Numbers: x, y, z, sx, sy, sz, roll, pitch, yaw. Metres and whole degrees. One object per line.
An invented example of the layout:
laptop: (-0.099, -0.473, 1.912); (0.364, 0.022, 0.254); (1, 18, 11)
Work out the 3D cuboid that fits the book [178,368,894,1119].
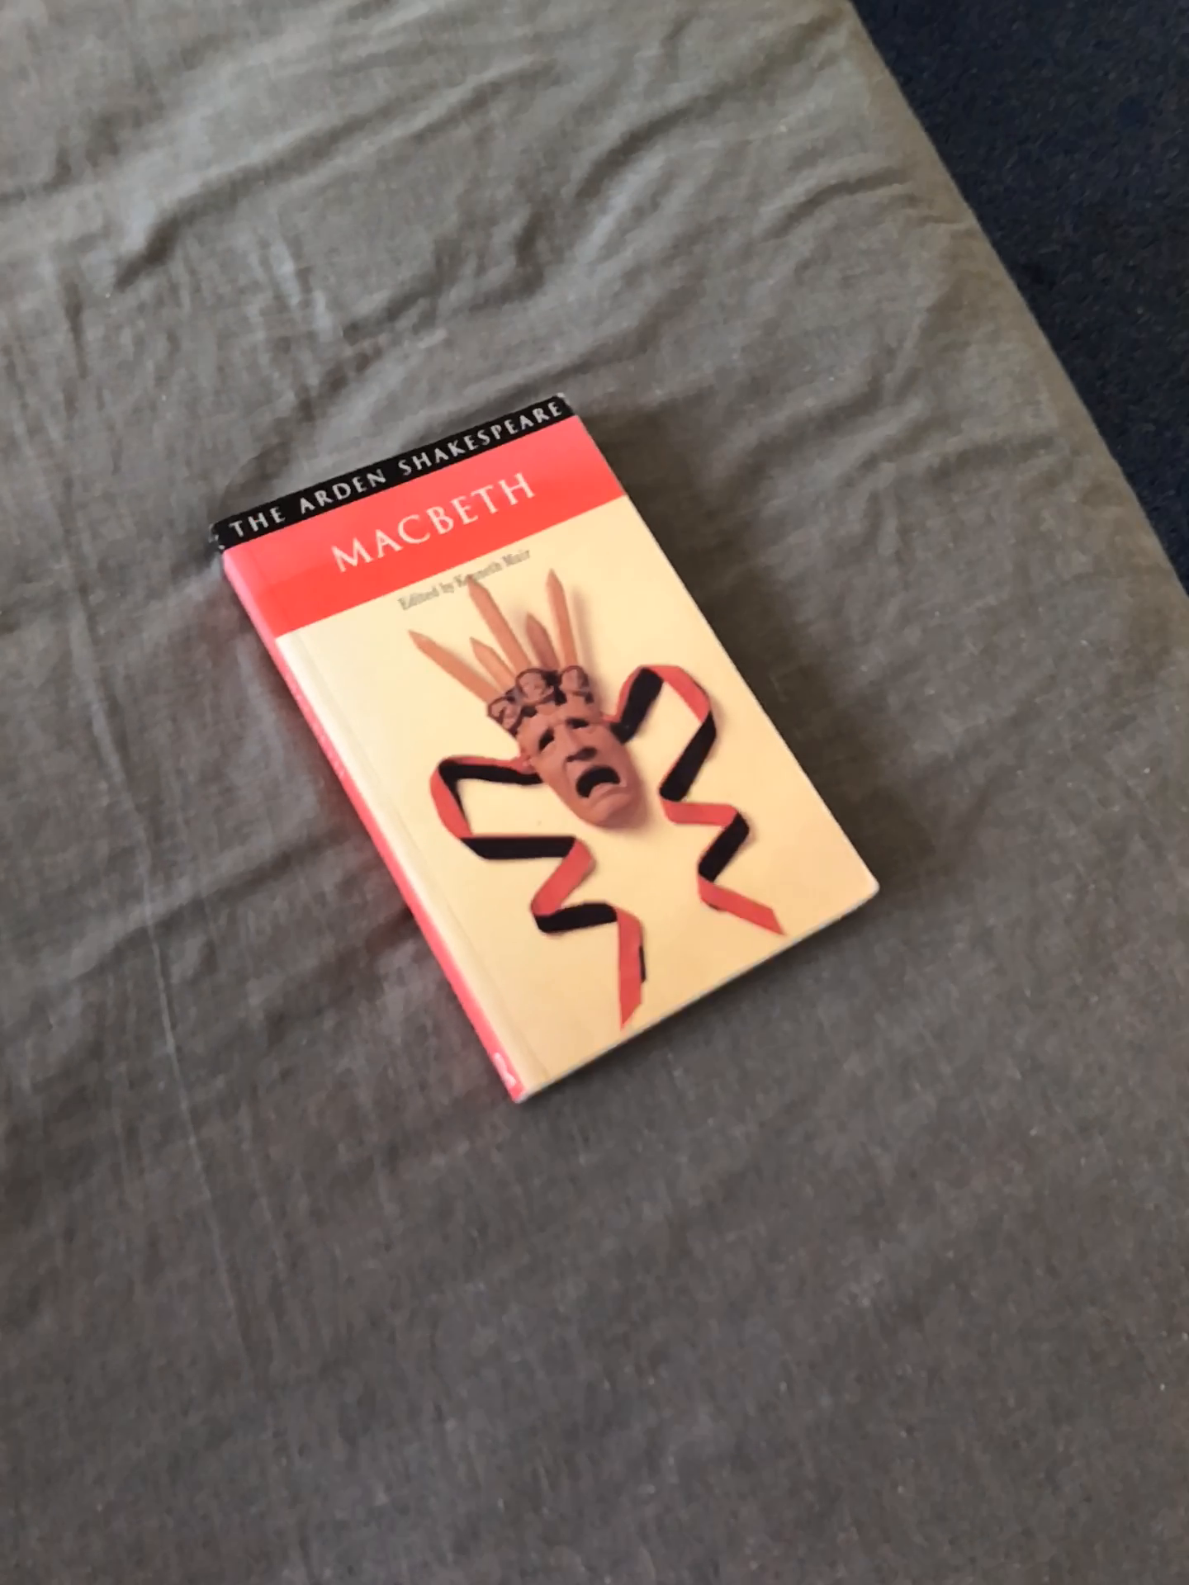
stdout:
book: (-0.020, -0.025, 0.390); (0.130, 0.020, 0.200); (-26, 75, -18)
